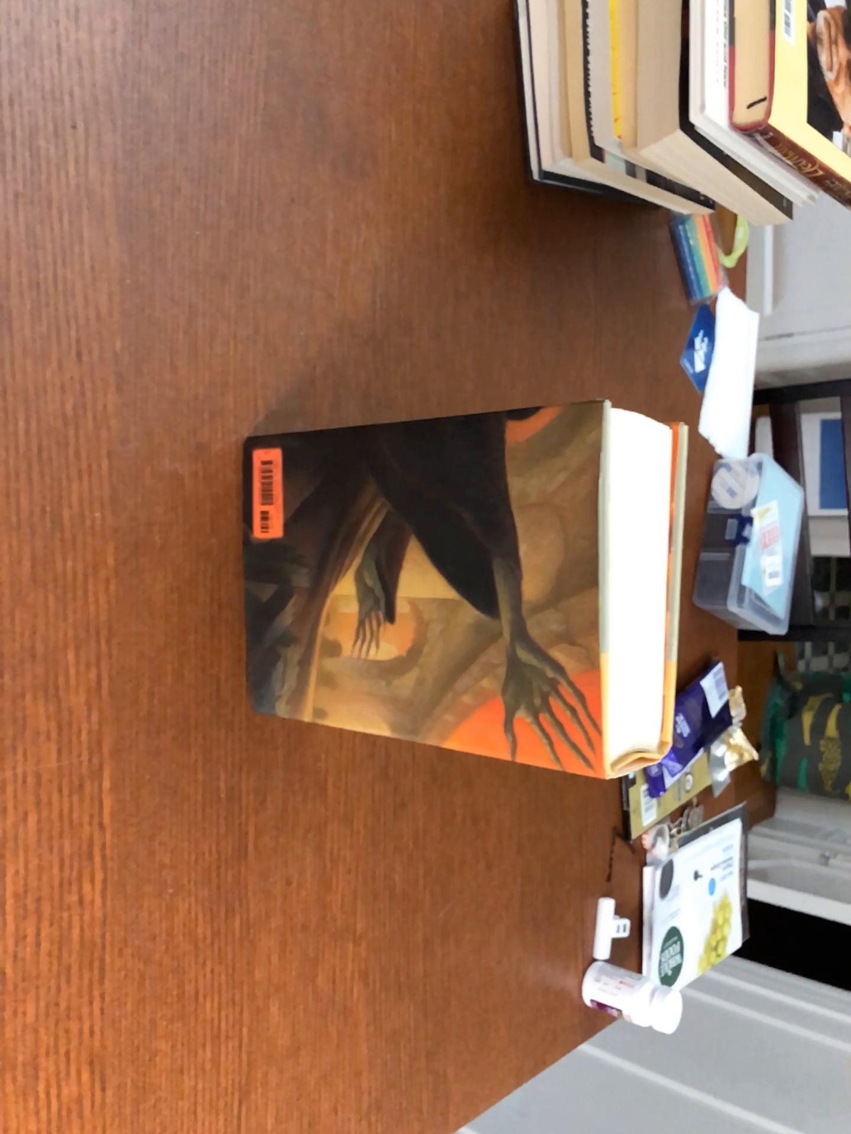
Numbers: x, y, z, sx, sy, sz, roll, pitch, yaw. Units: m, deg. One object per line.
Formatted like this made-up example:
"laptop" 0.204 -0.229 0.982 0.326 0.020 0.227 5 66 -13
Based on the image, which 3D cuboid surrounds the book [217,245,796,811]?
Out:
"book" 0.019 -0.017 0.473 0.070 0.298 0.210 2 90 -49
